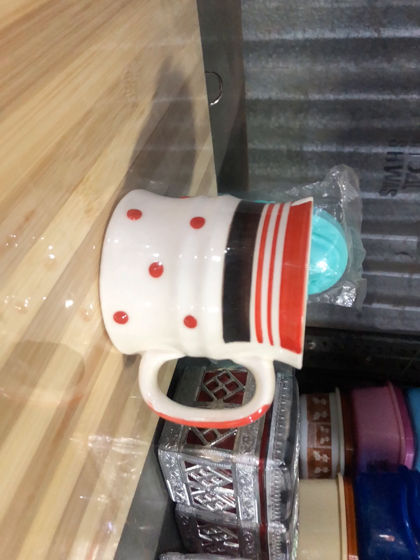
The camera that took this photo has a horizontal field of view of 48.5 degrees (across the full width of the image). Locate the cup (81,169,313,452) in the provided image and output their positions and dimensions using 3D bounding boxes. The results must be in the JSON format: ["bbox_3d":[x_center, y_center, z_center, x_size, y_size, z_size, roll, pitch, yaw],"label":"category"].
[{"bbox_3d":[0.003,0.013,0.240,0.100,0.090,0.110,3,90,-79],"label":"cup"}]
